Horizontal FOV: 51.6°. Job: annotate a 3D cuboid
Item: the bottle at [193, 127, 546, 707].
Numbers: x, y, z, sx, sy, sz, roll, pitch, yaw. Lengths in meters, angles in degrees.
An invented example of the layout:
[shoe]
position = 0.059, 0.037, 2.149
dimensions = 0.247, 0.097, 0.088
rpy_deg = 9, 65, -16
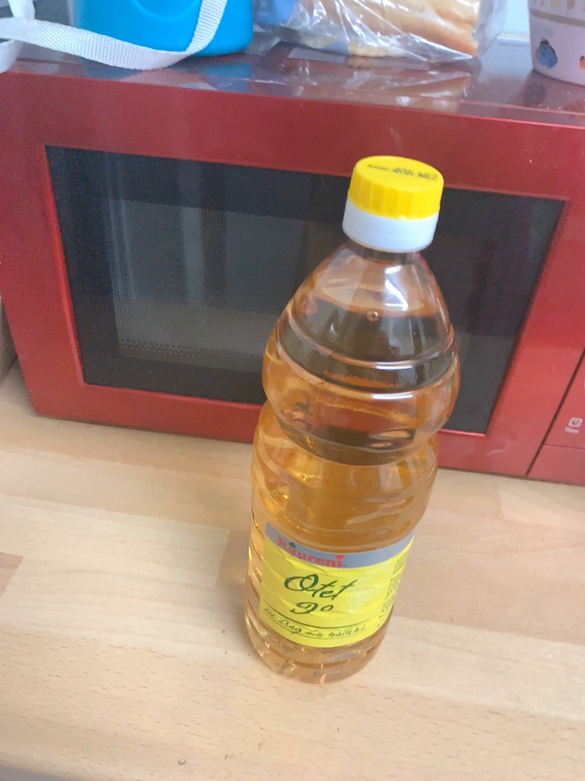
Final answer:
[bottle]
position = 0.019, 0.026, 0.253
dimensions = 0.090, 0.228, 0.081
rpy_deg = 11, 37, 8
